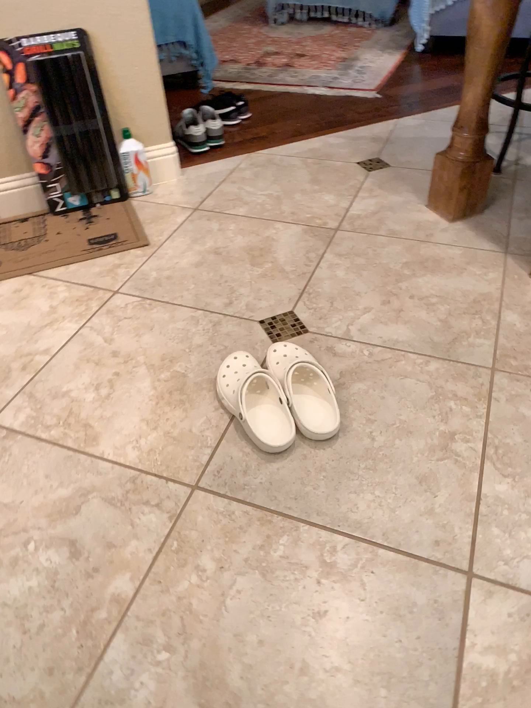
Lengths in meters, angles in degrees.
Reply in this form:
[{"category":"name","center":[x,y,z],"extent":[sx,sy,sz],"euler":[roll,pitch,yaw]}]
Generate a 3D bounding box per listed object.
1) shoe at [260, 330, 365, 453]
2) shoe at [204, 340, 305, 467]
[{"category":"shoe","center":[0.091,0.069,1.149],"extent":[0.129,0.073,0.262],"euler":[-15,43,-11]},{"category":"shoe","center":[-0.027,0.093,1.116],"extent":[0.119,0.073,0.262],"euler":[-17,44,-14]}]
